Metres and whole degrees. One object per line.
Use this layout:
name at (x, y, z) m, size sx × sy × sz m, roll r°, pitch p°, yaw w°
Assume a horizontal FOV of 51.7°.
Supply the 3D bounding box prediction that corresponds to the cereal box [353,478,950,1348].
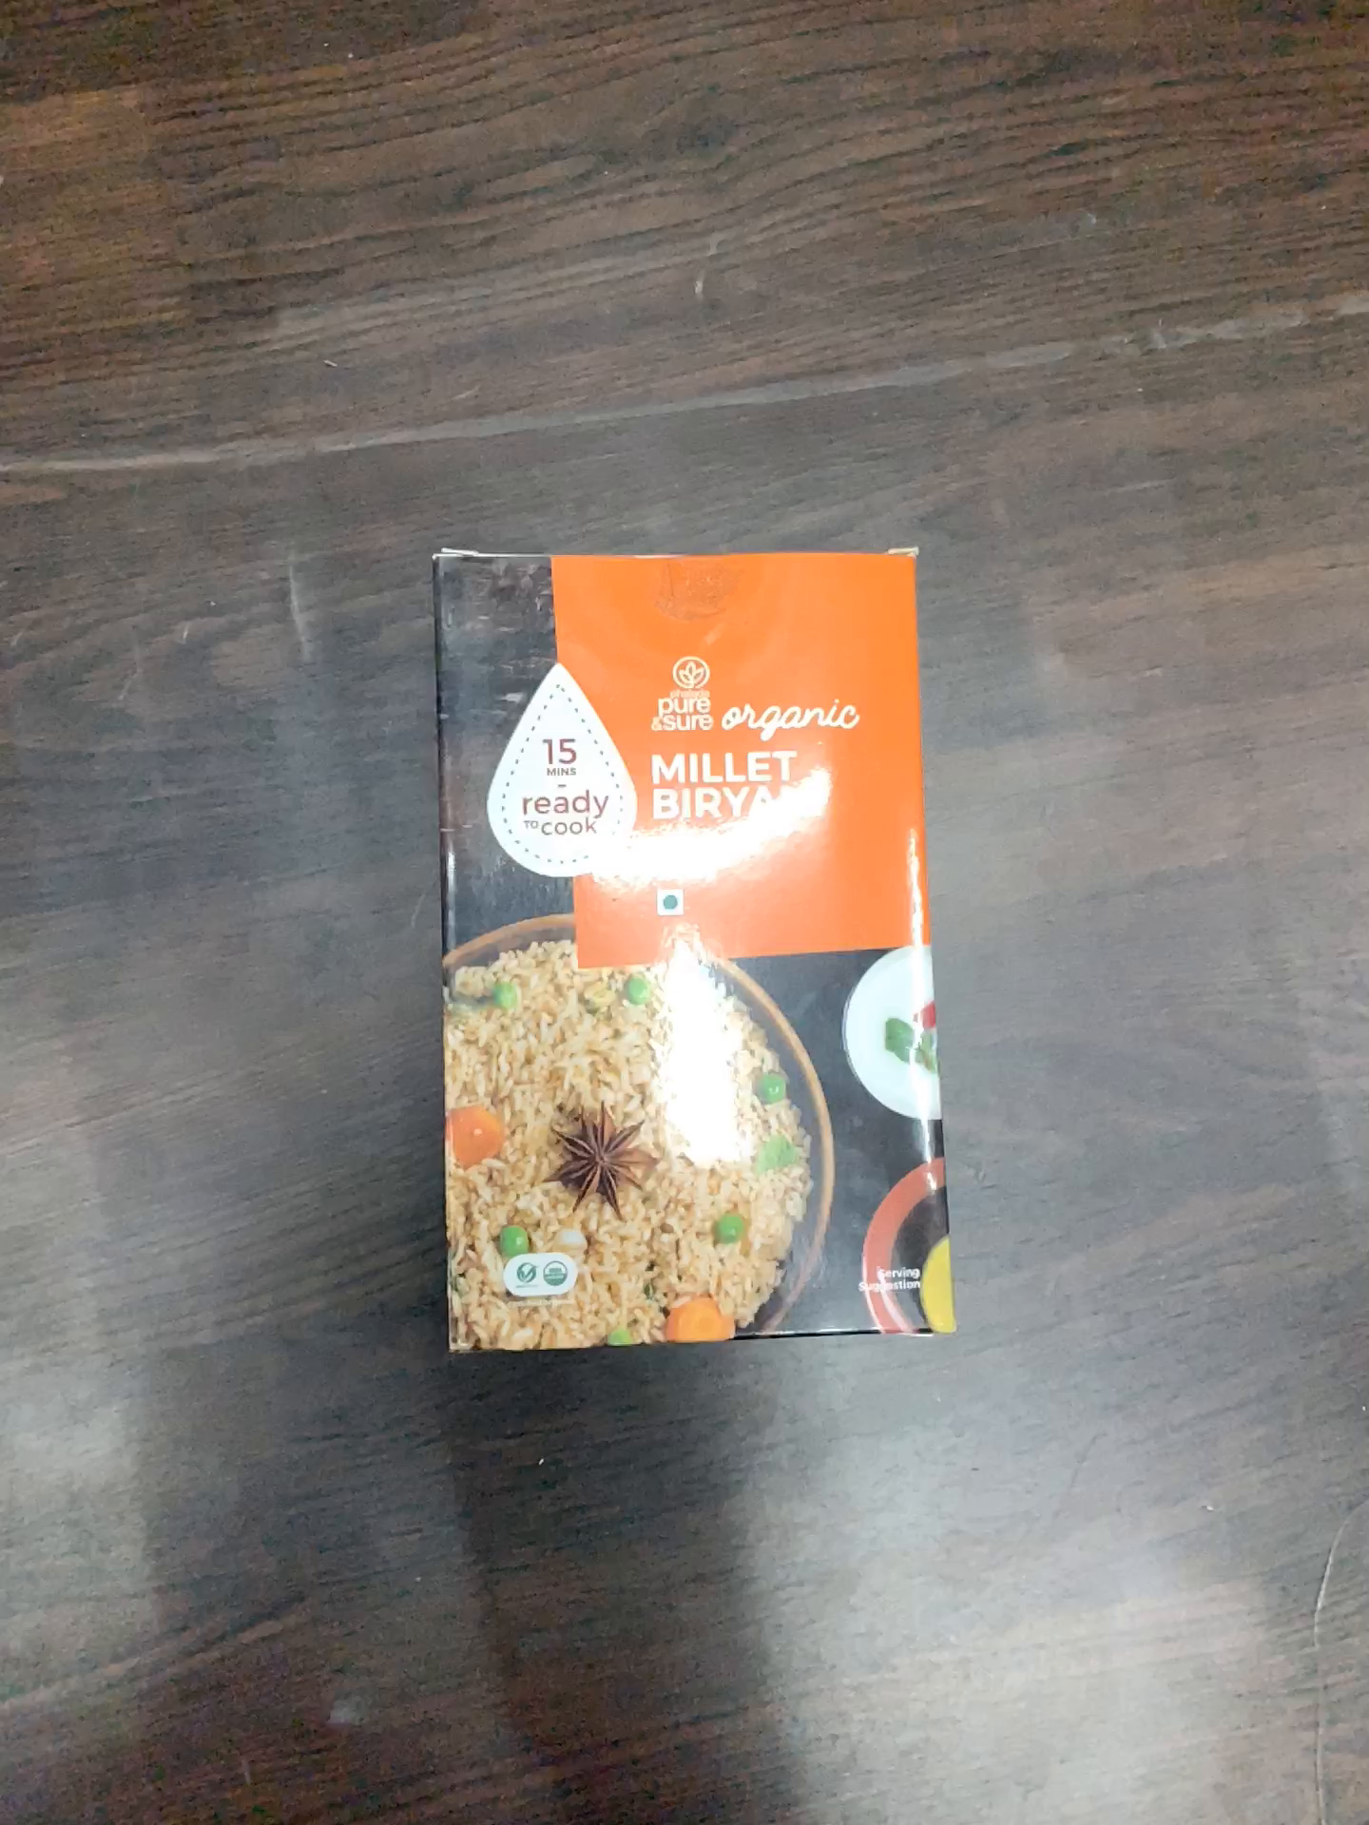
cereal box at (-0.009, -0.002, 0.310) m, size 0.110 × 0.050 × 0.170 m, roll -3°, pitch 86°, yaw -7°
